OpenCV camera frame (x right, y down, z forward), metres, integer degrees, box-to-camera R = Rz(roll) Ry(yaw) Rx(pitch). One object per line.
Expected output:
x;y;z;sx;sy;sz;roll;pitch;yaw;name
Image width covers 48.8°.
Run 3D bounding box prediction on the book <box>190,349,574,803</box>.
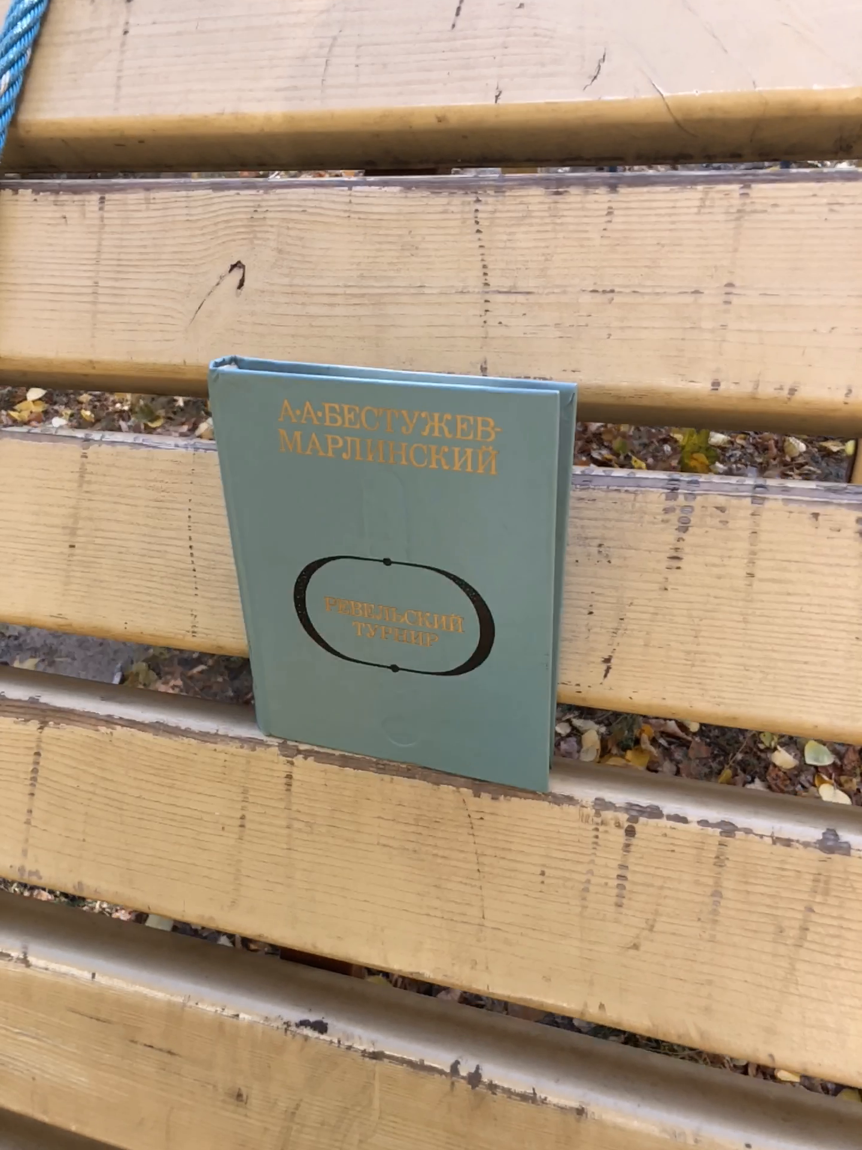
-0.016;0.001;0.374;0.140;0.169;0.022;9;31;22;book
